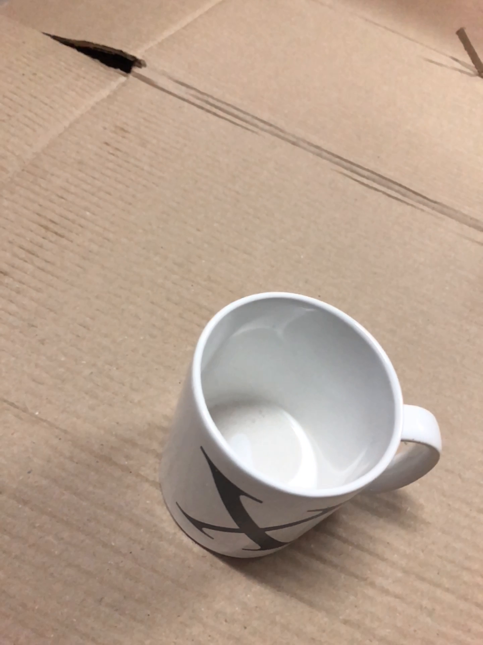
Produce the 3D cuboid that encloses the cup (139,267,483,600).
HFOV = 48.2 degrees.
[{"bbox_3d":[0.026,0.048,0.213,0.110,0.089,0.080,11,49,-9],"label":"cup"}]
